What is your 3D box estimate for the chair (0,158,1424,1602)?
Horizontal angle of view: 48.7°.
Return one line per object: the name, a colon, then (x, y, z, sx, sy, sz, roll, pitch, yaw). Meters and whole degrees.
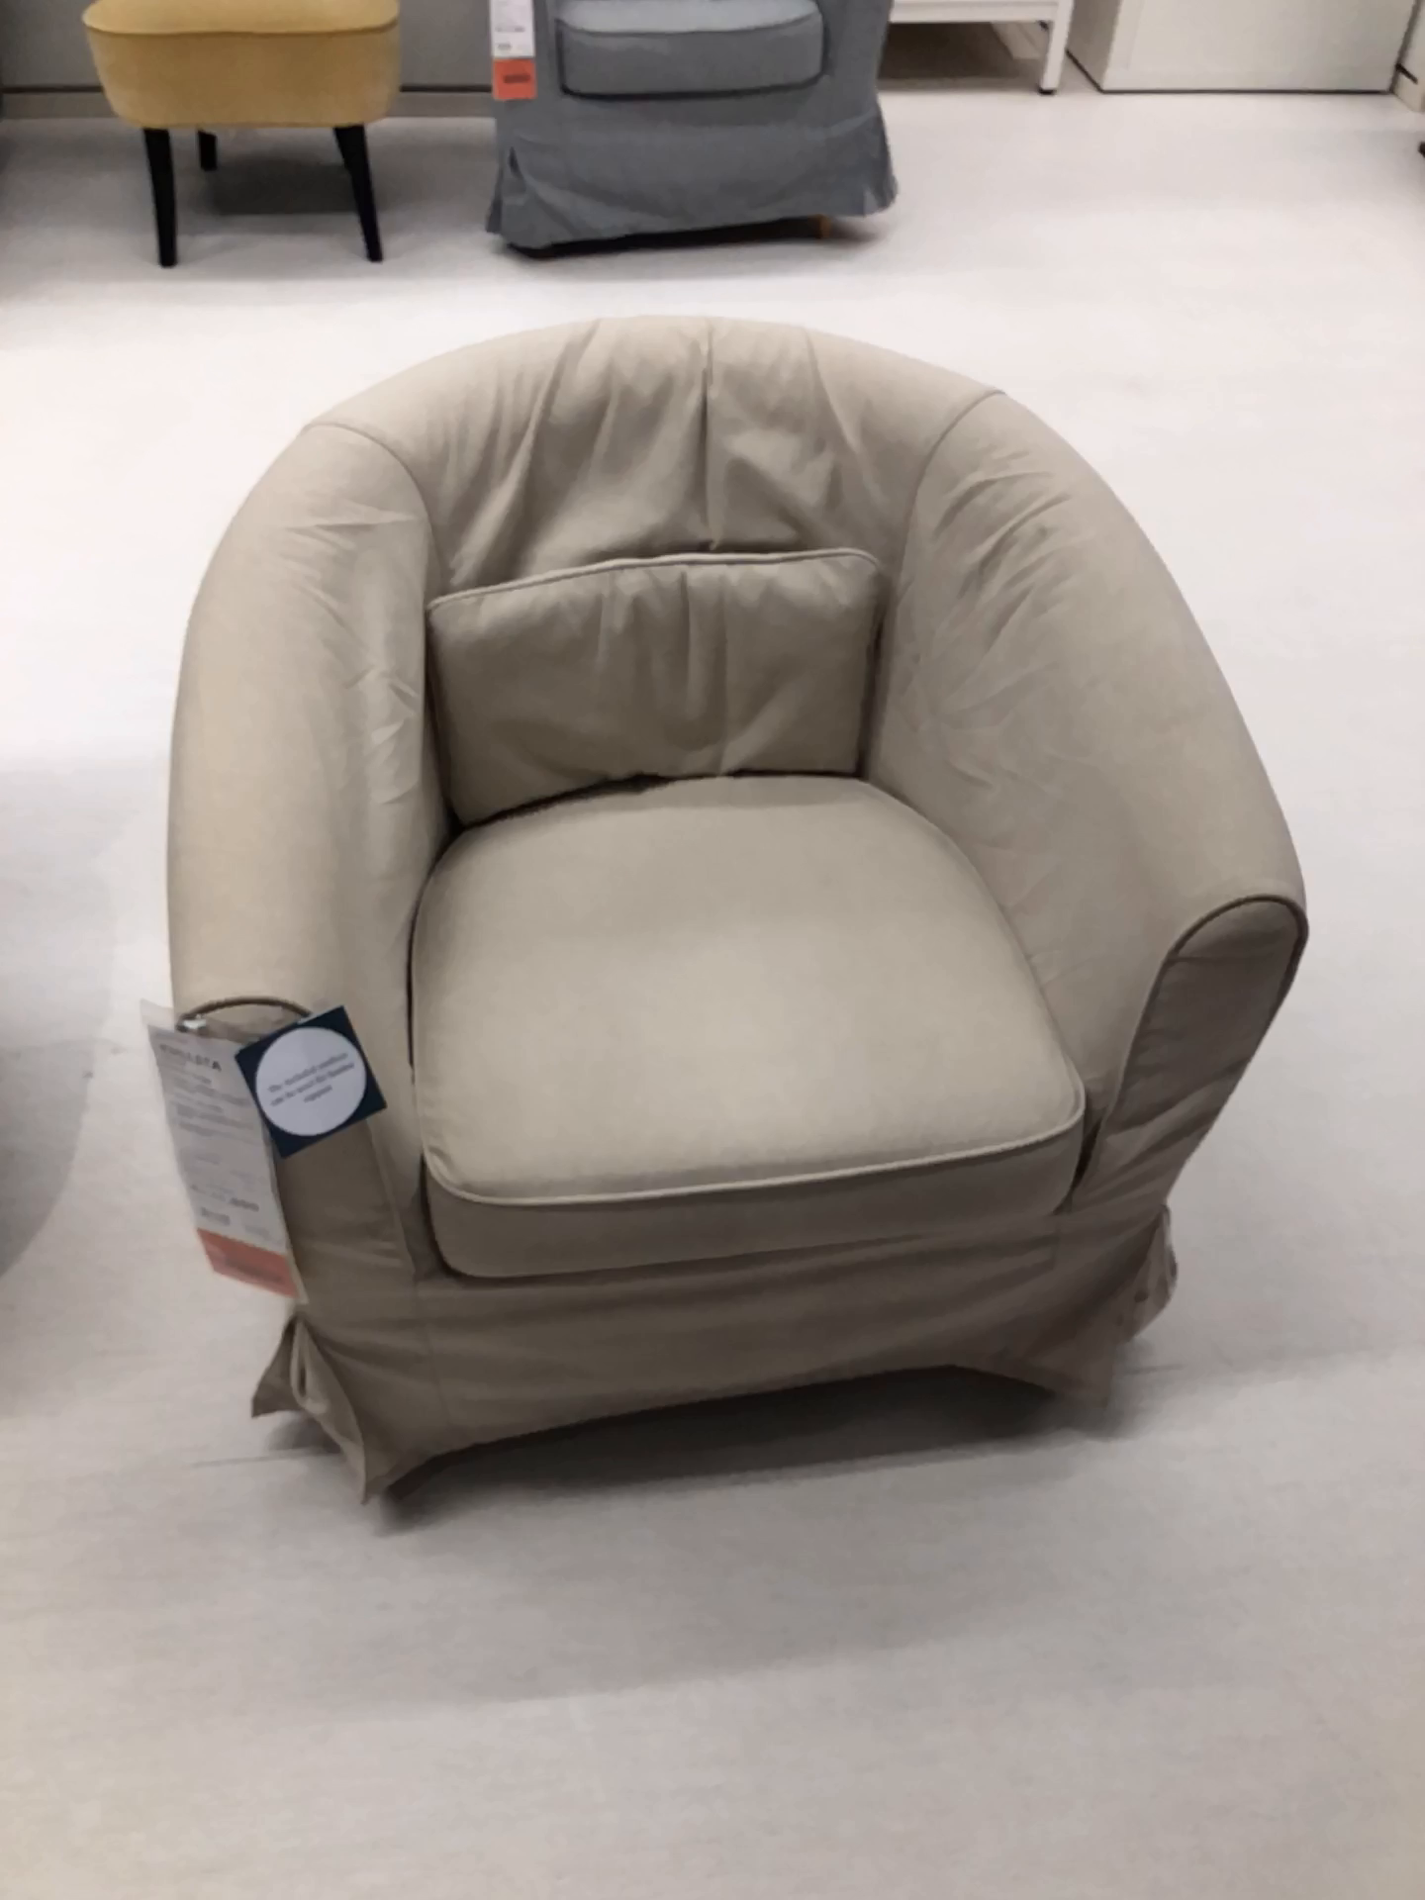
chair: (0.010, -0.061, 1.256, 0.860, 0.805, 0.704, -6, 47, -9)
